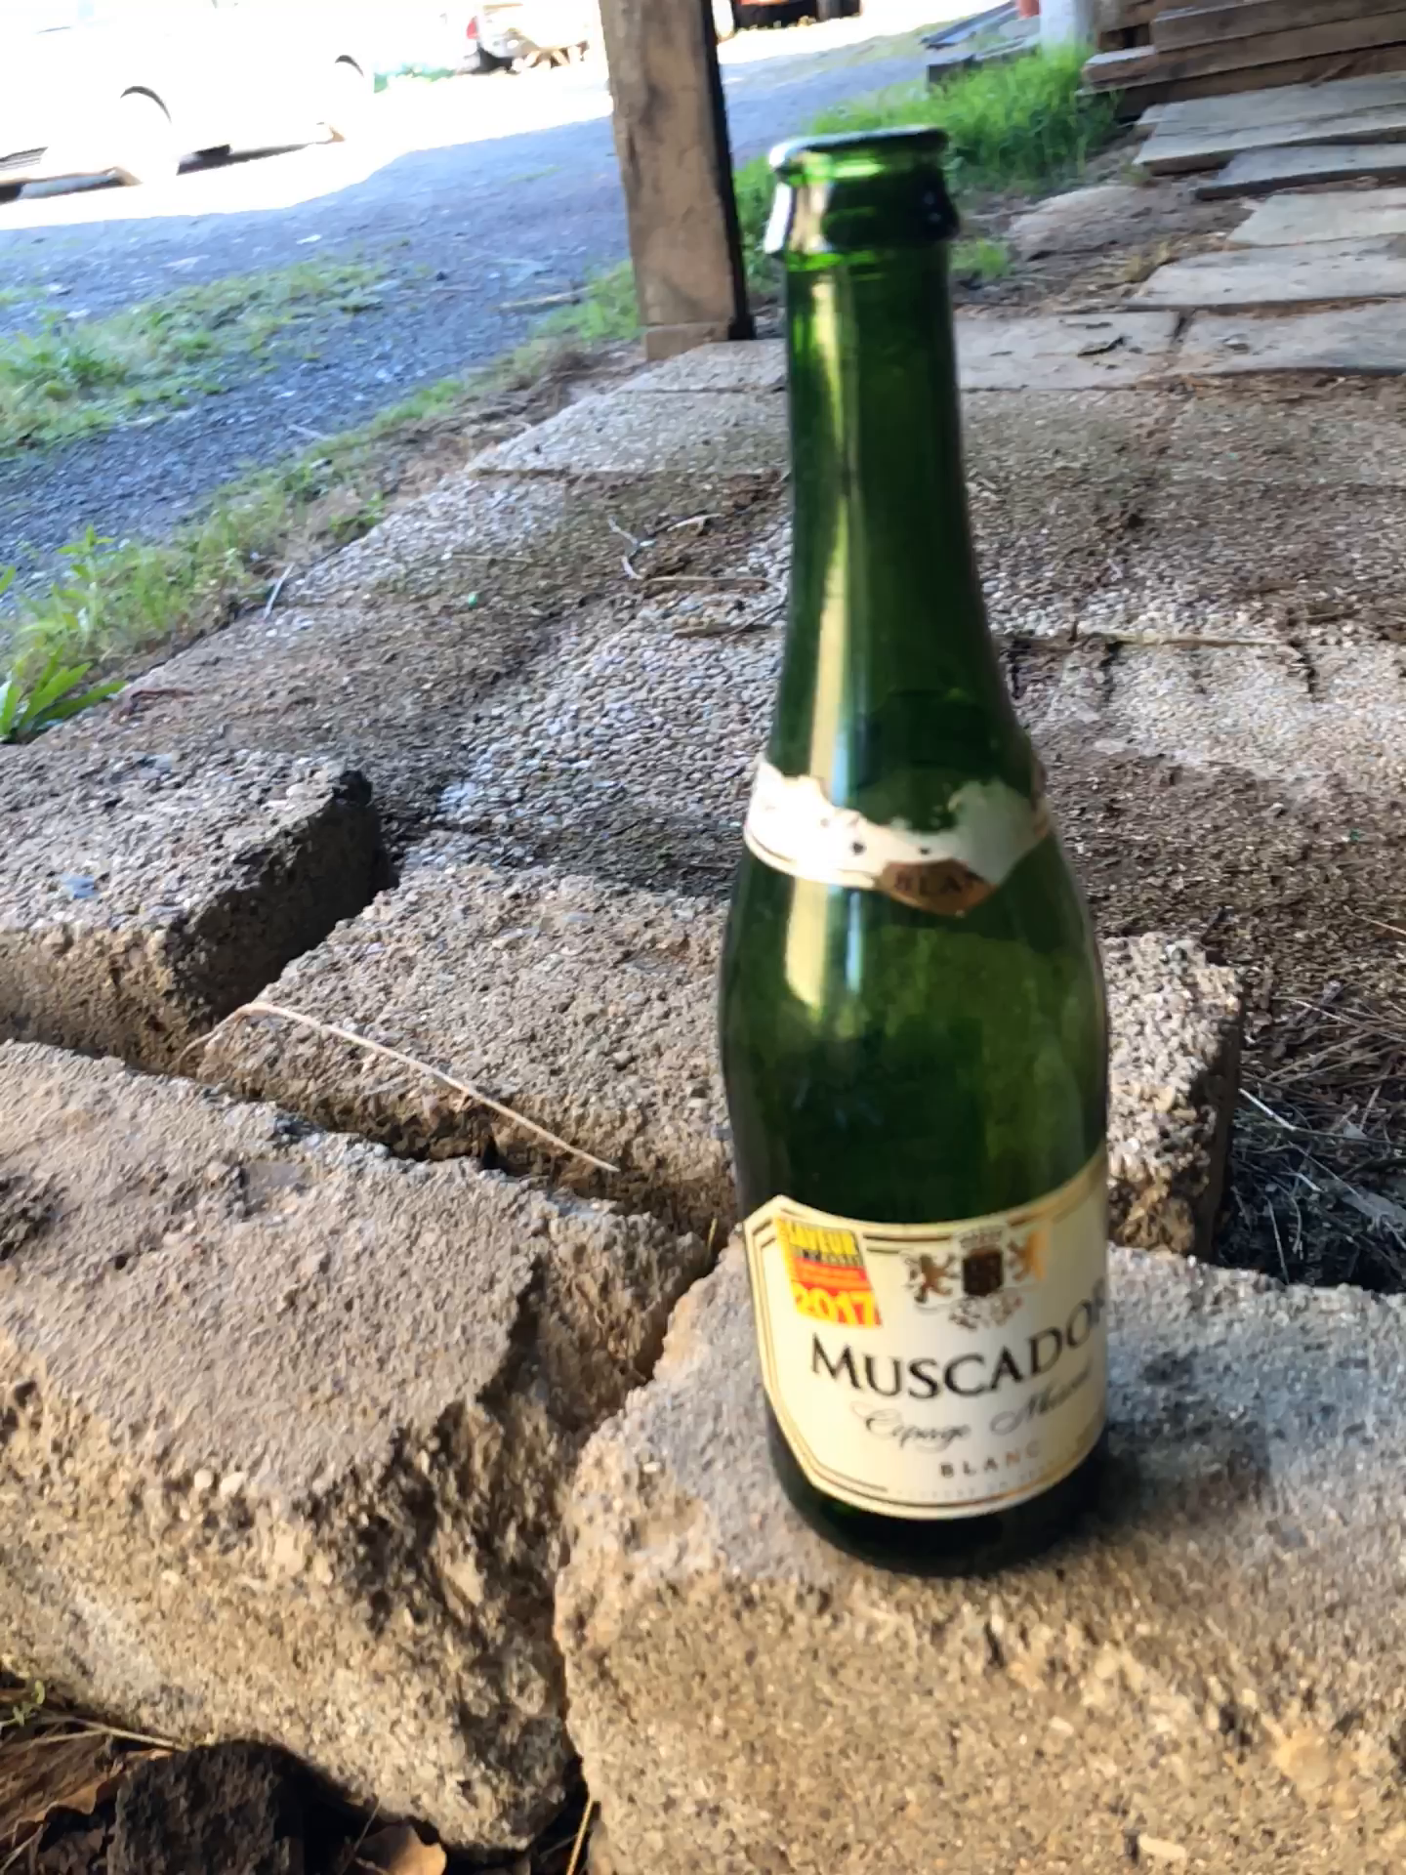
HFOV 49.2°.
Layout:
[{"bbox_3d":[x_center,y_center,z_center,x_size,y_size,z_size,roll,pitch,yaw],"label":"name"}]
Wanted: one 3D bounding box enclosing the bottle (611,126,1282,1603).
[{"bbox_3d":[0.046,0.001,0.317,0.090,0.288,0.091,-5,30,3],"label":"bottle"}]
